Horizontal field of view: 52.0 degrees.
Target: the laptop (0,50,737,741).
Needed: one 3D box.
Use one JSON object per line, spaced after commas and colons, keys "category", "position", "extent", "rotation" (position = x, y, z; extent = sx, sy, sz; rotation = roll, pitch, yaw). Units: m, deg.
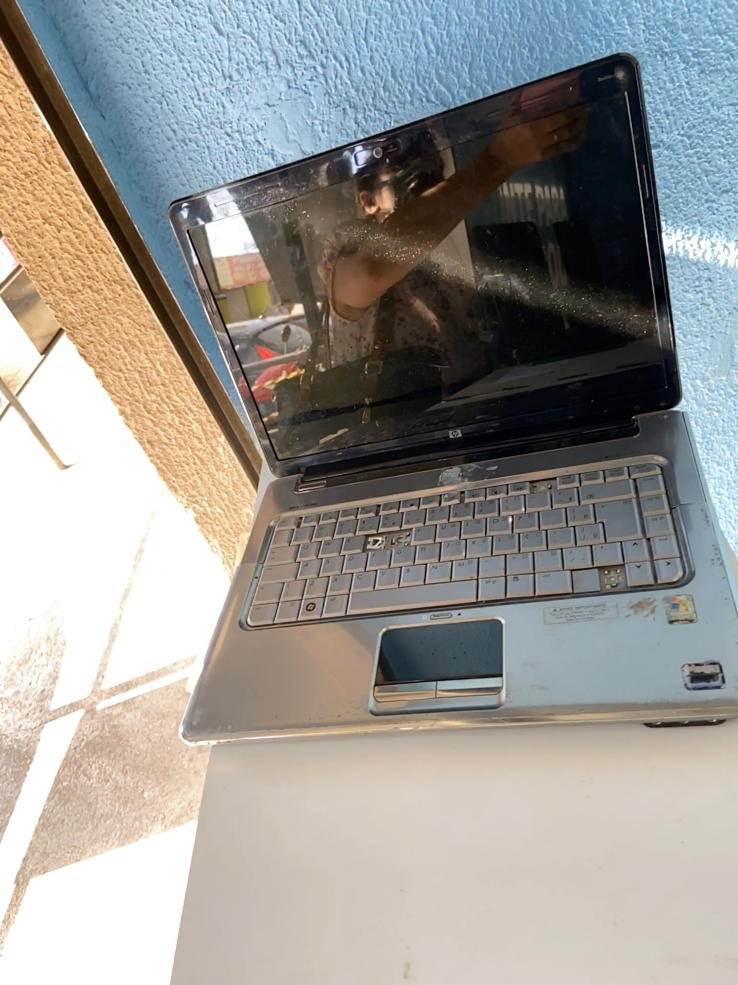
{"category": "laptop", "position": [0.021, -0.061, 0.494], "extent": [0.351, 0.233, 0.330], "rotation": [-9, 39, 19]}
